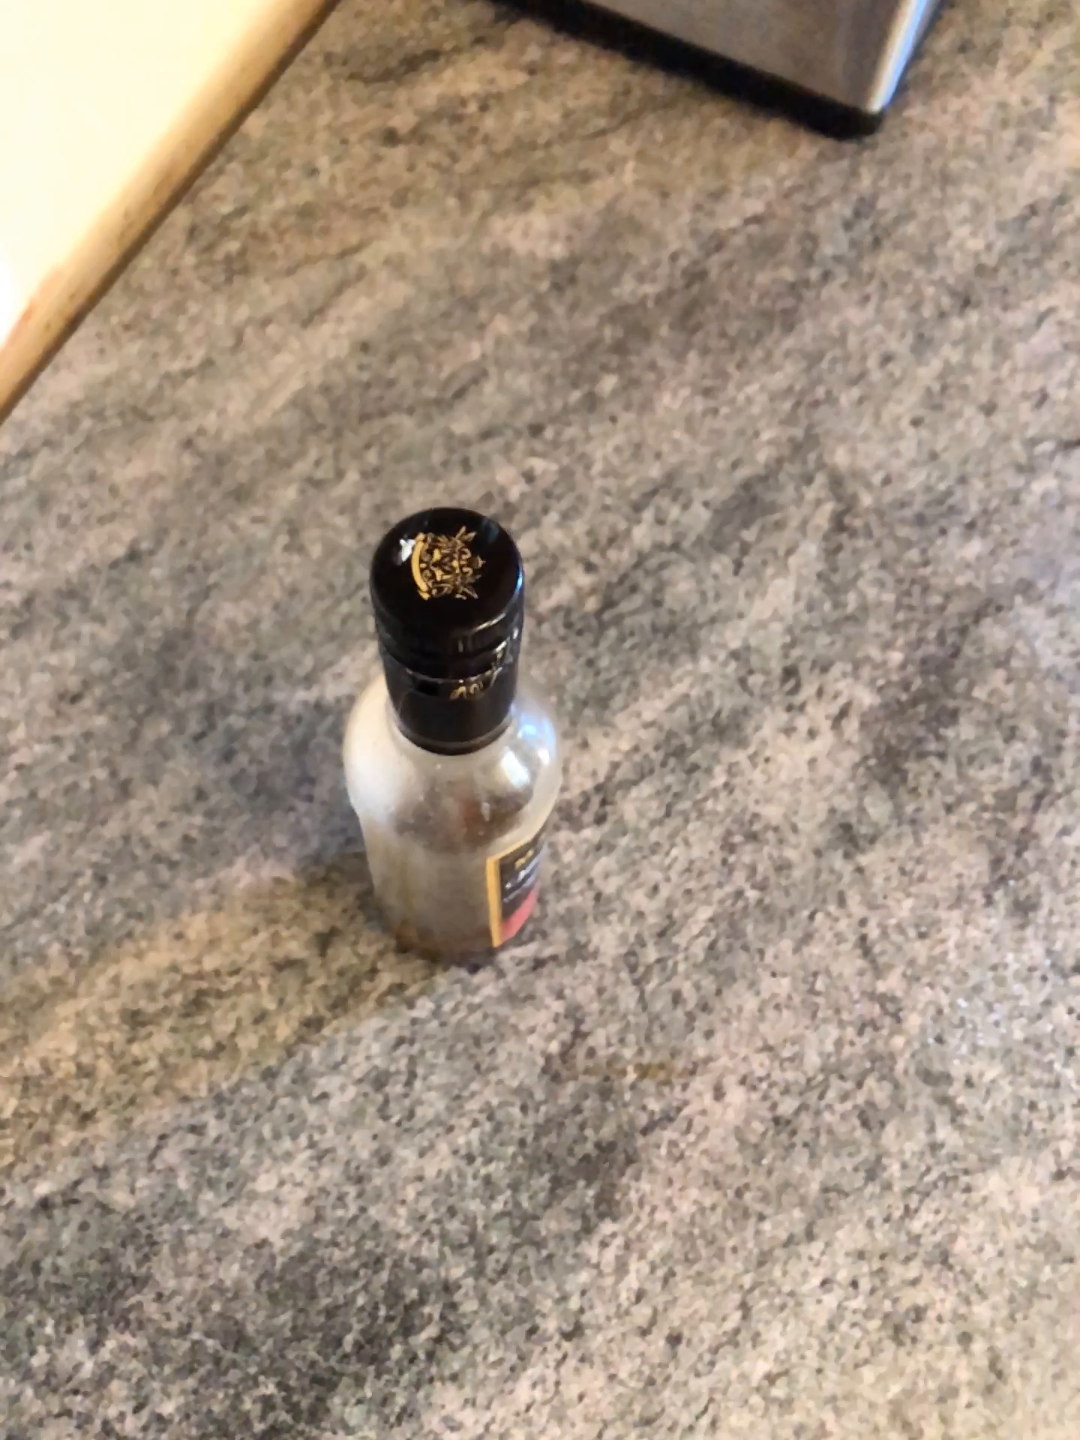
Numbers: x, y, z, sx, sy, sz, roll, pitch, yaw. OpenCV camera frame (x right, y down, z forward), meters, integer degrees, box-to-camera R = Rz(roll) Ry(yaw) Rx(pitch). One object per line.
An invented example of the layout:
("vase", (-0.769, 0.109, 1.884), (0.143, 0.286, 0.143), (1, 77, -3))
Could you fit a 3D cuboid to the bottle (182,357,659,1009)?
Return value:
("bottle", (-0.025, 0.013, 0.336), (0.070, 0.229, 0.070), (1, 66, -2))
